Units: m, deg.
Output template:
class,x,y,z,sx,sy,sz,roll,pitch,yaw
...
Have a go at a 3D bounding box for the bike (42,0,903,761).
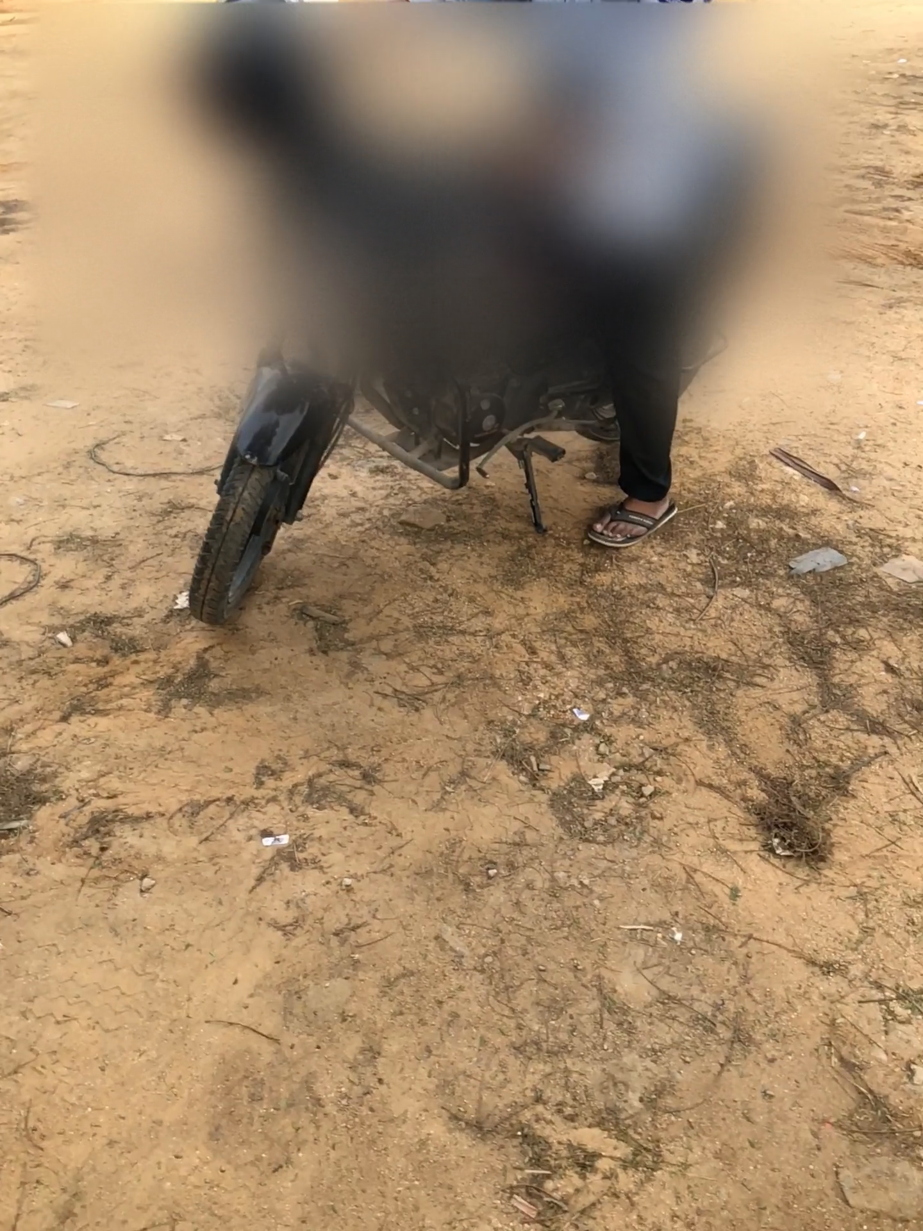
class,x,y,z,sx,sy,sz,roll,pitch,yaw
bike,0.102,-0.618,2.179,1.569,0.913,0.670,-32,44,-28
